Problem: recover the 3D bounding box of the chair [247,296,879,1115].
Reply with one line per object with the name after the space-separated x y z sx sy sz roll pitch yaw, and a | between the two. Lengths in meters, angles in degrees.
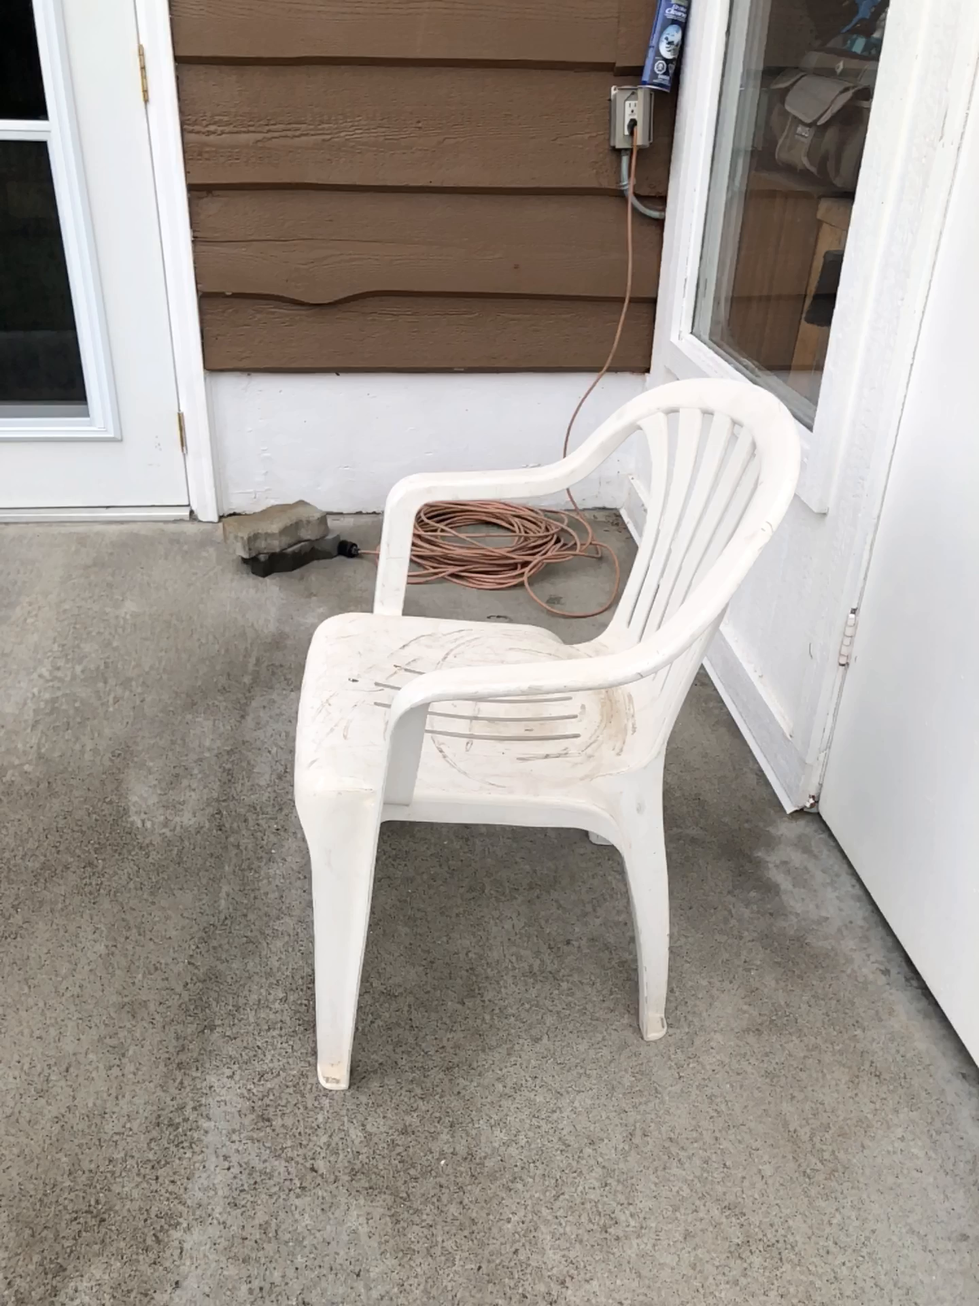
0.028 0.031 1.306 0.510 0.777 0.602 -1 29 -5 | chair
